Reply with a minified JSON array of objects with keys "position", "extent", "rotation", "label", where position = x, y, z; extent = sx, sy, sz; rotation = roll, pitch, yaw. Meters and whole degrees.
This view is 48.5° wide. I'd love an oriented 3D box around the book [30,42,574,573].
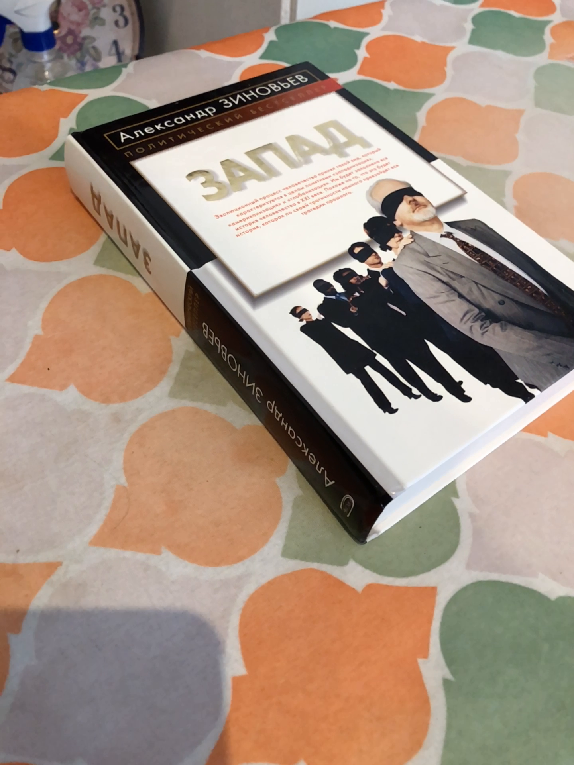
[{"position":[0.012,-0.056,0.265],"extent":[0.140,0.040,0.221],"rotation":[-29,62,-24],"label":"book"}]
